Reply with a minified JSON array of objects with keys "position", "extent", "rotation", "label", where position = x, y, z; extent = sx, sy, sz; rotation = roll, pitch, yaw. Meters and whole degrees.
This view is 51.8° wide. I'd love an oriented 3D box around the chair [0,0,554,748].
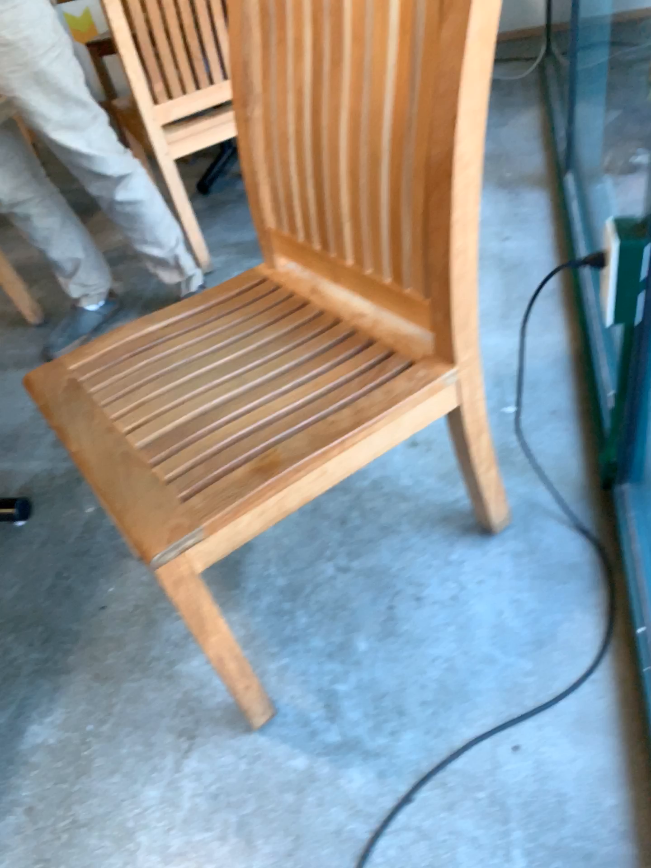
[{"position":[-0.115,-0.167,0.932],"extent":[0.610,0.914,0.533],"rotation":[-33,44,-19],"label":"chair"}]
